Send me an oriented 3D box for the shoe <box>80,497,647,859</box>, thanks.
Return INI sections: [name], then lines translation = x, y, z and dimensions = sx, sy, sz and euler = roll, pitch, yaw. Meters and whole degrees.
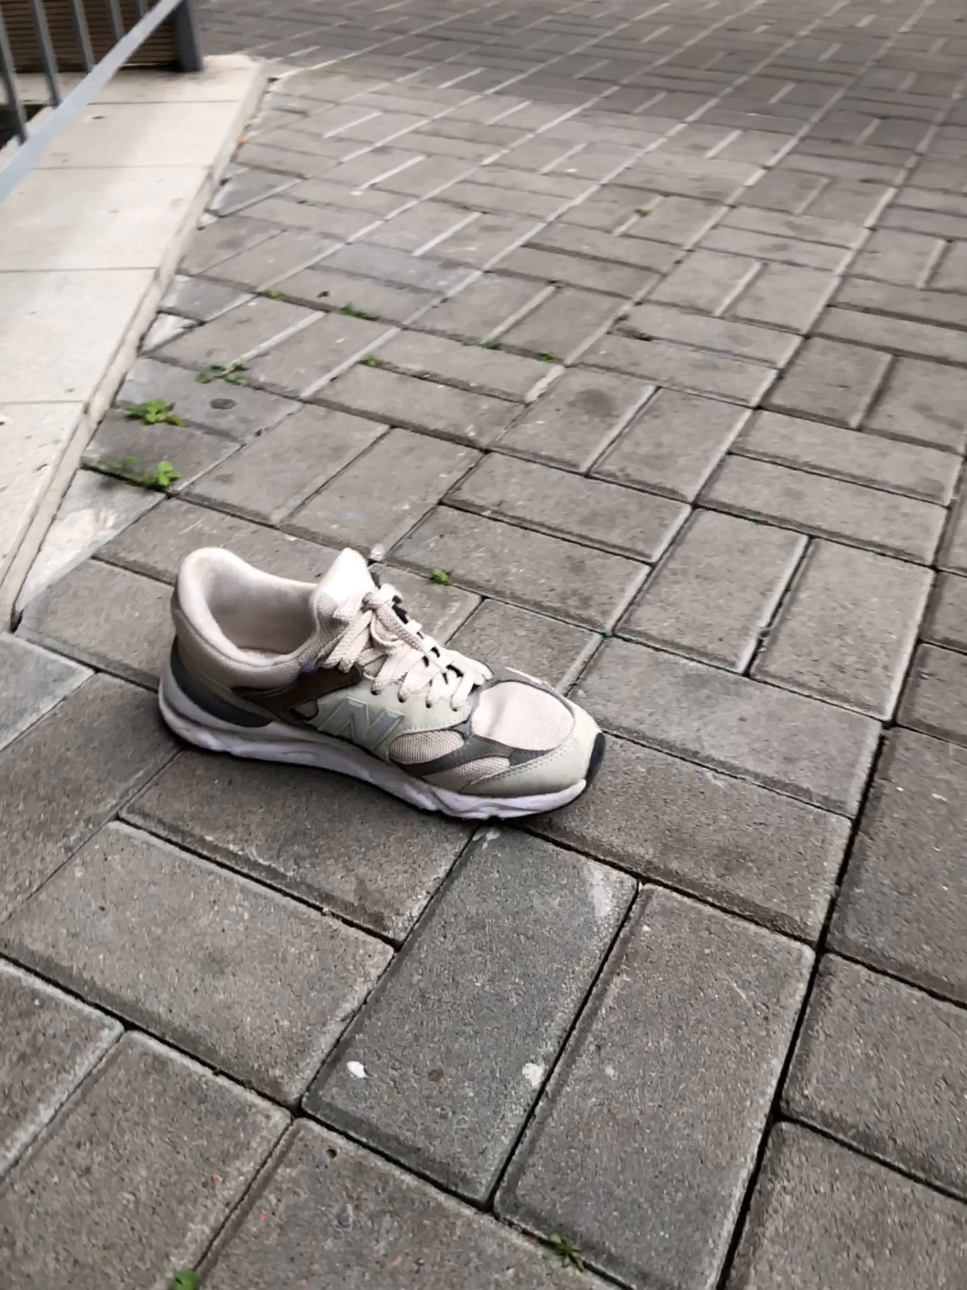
[shoe]
translation = -0.066, 0.012, 0.640
dimensions = 0.300, 0.109, 0.121
euler = 11, 41, 15
